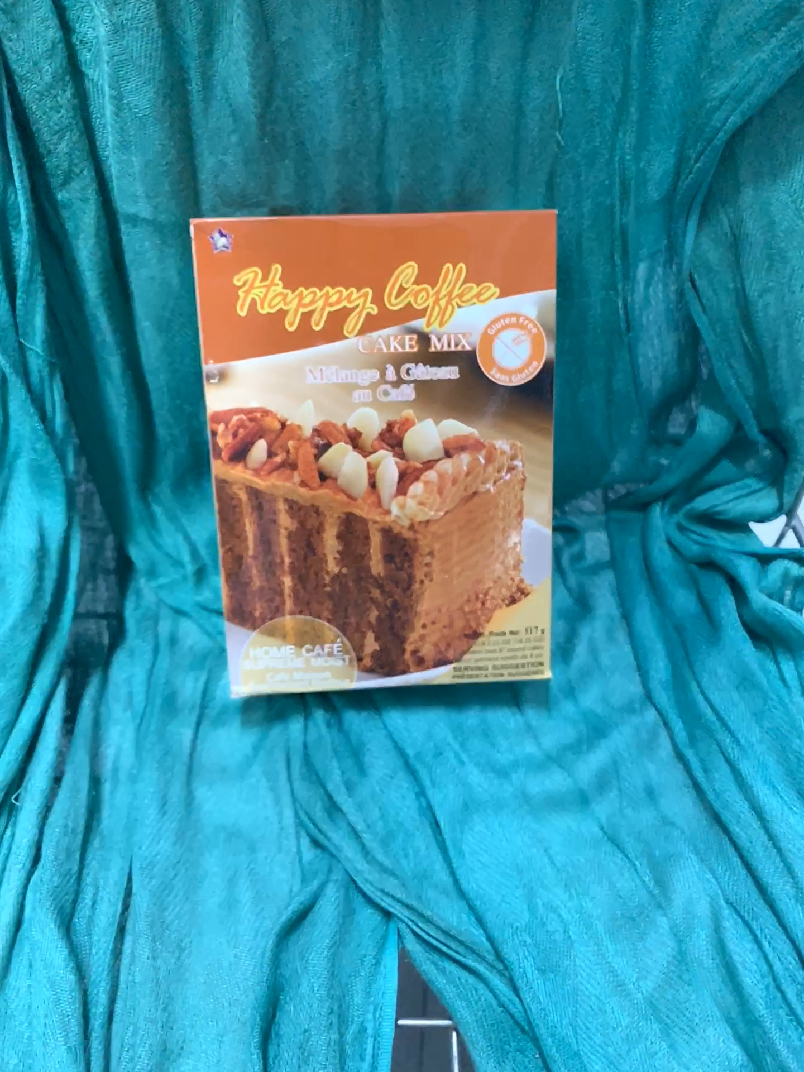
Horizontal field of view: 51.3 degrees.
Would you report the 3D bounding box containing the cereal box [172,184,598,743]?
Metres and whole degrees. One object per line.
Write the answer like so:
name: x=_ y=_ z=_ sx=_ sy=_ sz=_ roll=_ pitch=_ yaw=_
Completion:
cereal box: x=-0.004 y=-0.027 z=0.343 sx=0.150 sy=0.210 sz=0.050 roll=-2 pitch=14 yaw=-4
